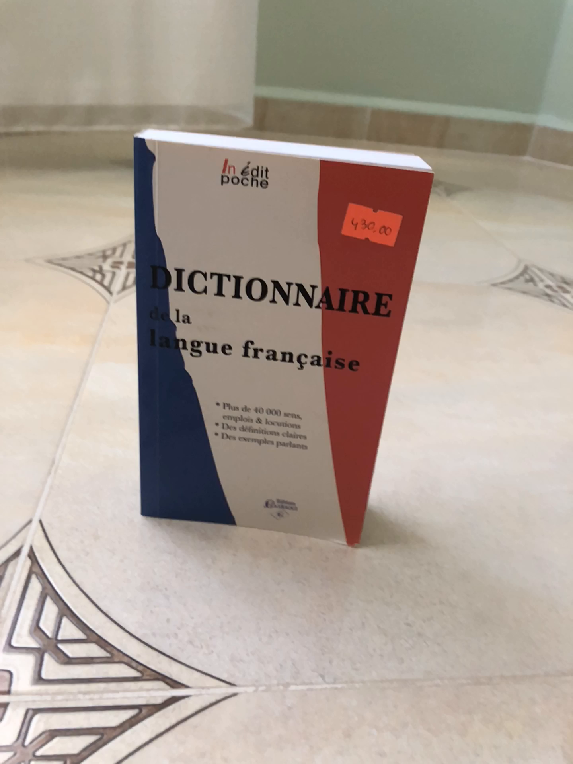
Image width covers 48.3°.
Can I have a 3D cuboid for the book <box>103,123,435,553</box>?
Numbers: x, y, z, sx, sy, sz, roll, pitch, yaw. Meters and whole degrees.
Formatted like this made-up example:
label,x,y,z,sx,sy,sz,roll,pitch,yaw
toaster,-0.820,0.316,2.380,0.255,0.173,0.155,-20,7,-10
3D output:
label,x,y,z,sx,sy,sz,roll,pitch,yaw
book,-0.014,-0.011,0.288,0.121,0.182,0.034,8,29,3
